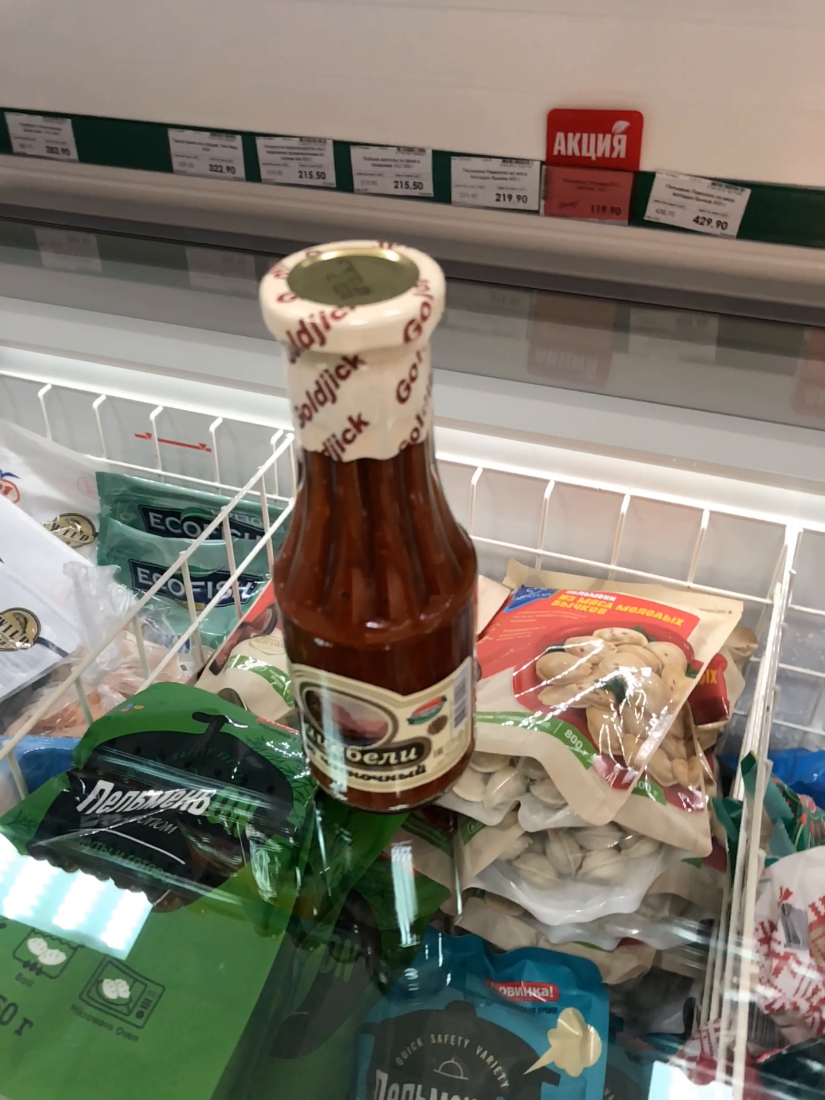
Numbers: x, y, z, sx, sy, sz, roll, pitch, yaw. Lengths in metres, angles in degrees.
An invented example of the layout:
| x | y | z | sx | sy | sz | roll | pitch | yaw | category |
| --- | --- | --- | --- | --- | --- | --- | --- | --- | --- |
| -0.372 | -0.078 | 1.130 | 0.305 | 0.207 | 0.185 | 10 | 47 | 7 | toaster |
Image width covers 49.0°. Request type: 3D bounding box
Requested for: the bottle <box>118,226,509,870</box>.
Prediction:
| x | y | z | sx | sy | sz | roll | pitch | yaw | category |
| --- | --- | --- | --- | --- | --- | --- | --- | --- | --- |
| -0.018 | 0.008 | 0.272 | 0.070 | 0.179 | 0.070 | -1 | 40 | 1 | bottle |
